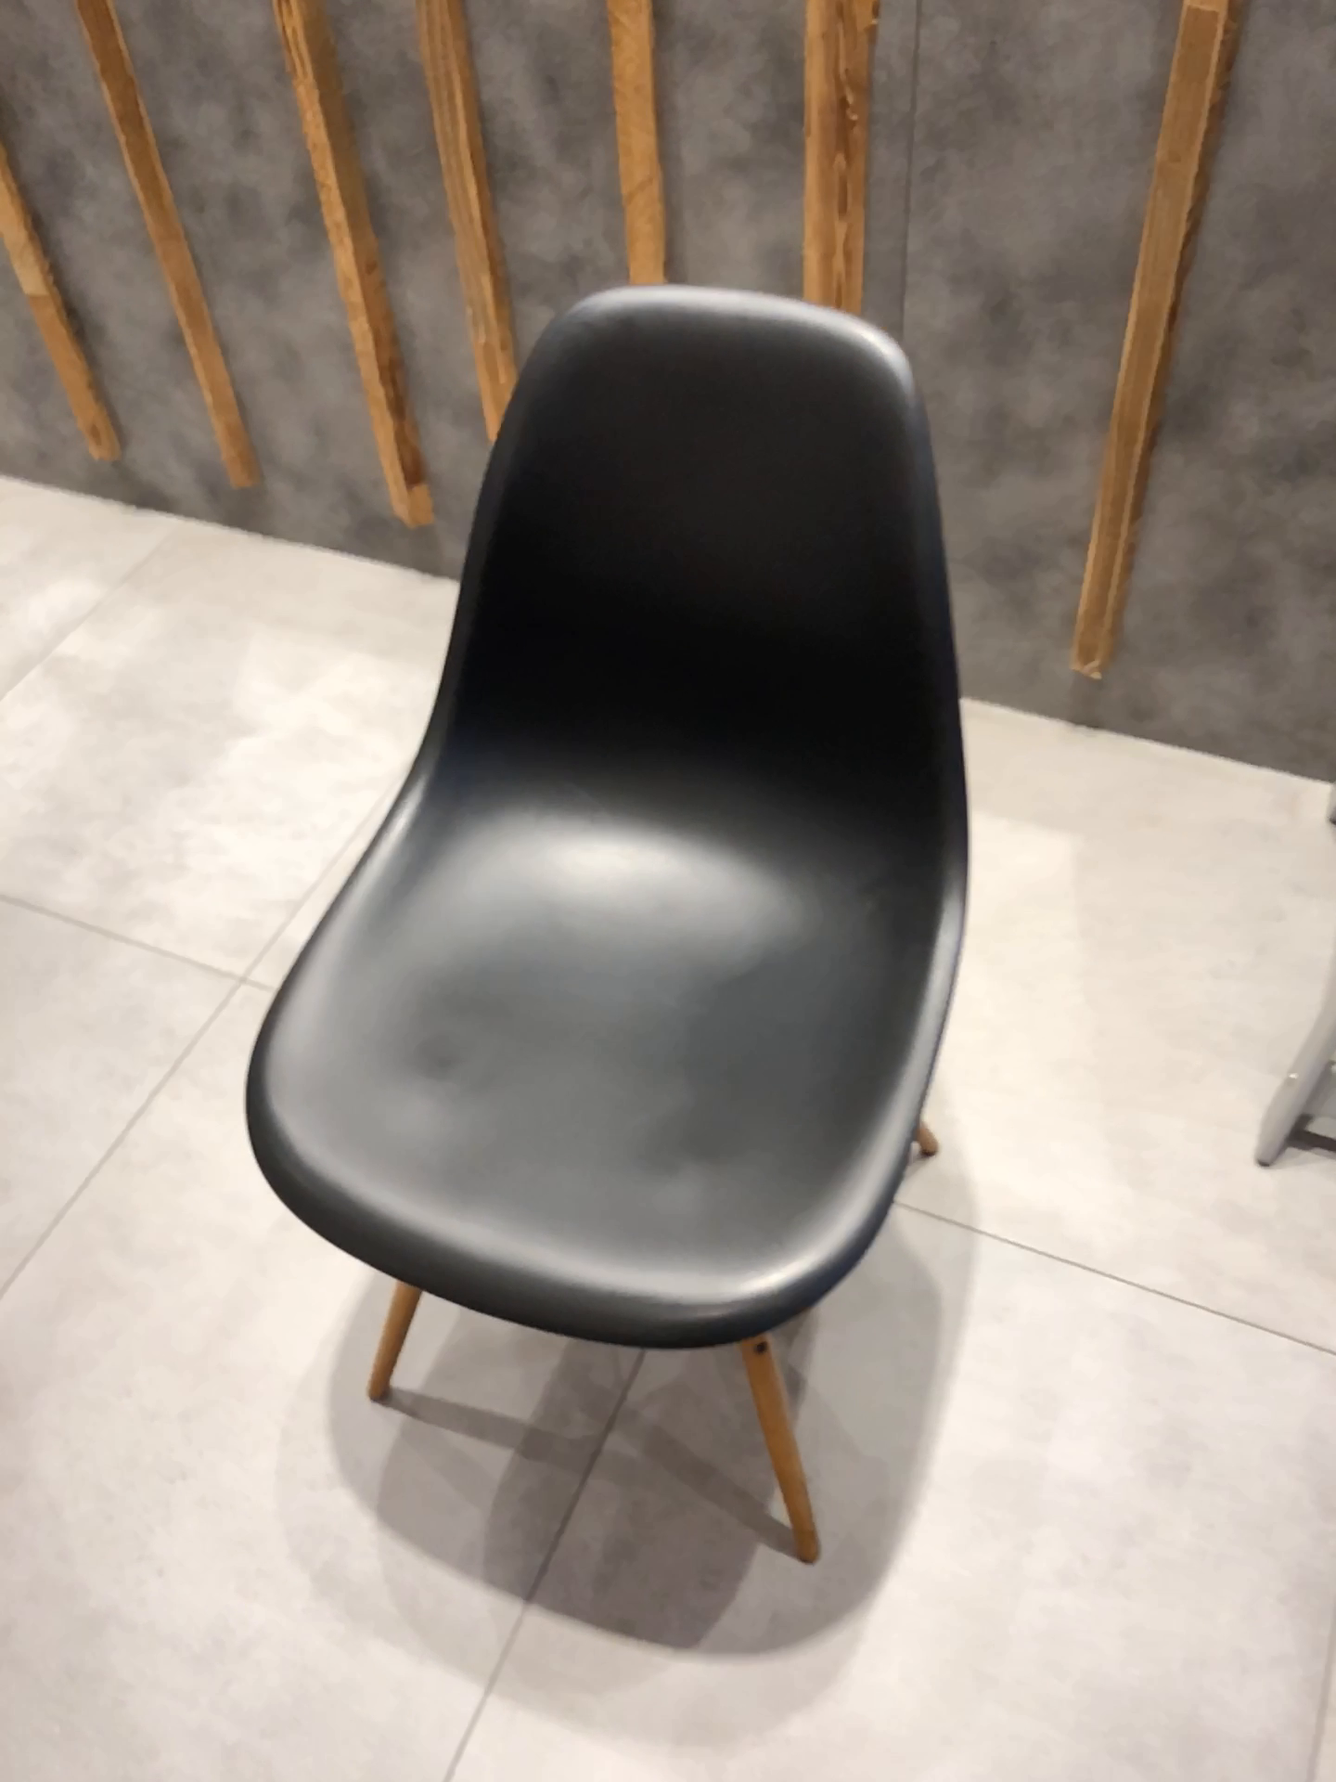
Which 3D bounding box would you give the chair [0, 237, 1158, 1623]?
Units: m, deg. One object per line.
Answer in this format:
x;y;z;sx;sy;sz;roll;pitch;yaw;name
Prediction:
-0.016;0.048;1.089;0.508;0.757;0.566;14;51;16;chair
